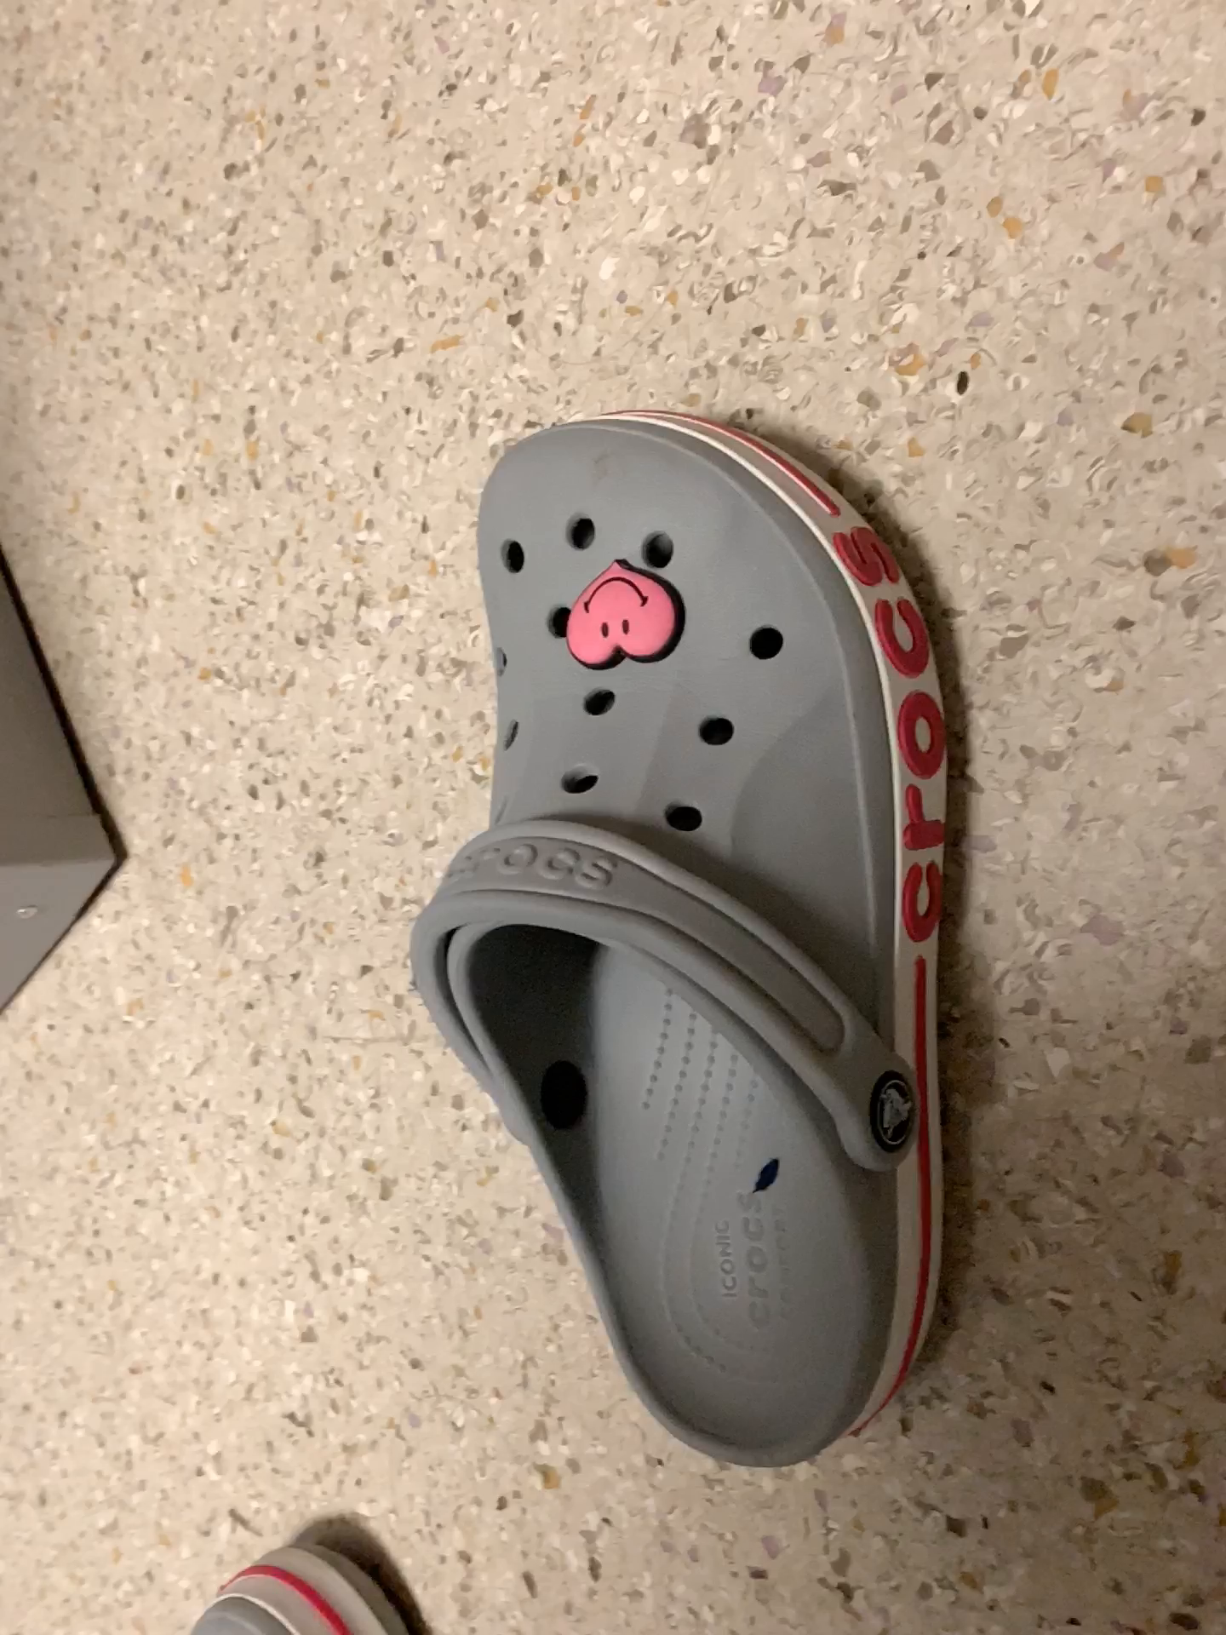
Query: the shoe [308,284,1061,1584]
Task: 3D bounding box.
[{"bbox_3d":[0.014,0.023,0.288,0.110,0.091,0.226,-11,84,37],"label":"shoe"}]
